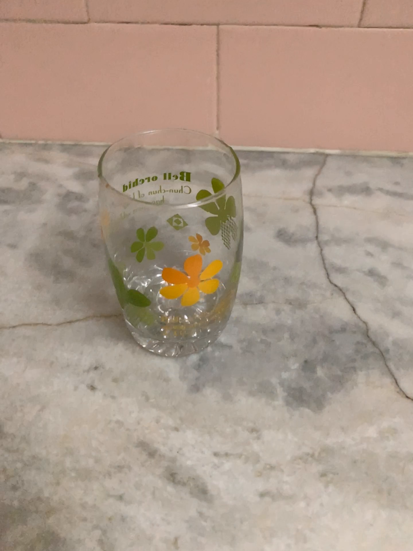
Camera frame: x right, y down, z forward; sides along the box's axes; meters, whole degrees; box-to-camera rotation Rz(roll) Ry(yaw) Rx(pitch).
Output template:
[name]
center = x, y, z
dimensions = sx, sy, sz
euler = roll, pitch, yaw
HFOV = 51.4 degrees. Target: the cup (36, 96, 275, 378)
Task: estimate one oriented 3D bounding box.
[cup]
center = -0.018, -0.018, 0.211
dimensions = 0.070, 0.100, 0.070
euler = 0, 46, 0
